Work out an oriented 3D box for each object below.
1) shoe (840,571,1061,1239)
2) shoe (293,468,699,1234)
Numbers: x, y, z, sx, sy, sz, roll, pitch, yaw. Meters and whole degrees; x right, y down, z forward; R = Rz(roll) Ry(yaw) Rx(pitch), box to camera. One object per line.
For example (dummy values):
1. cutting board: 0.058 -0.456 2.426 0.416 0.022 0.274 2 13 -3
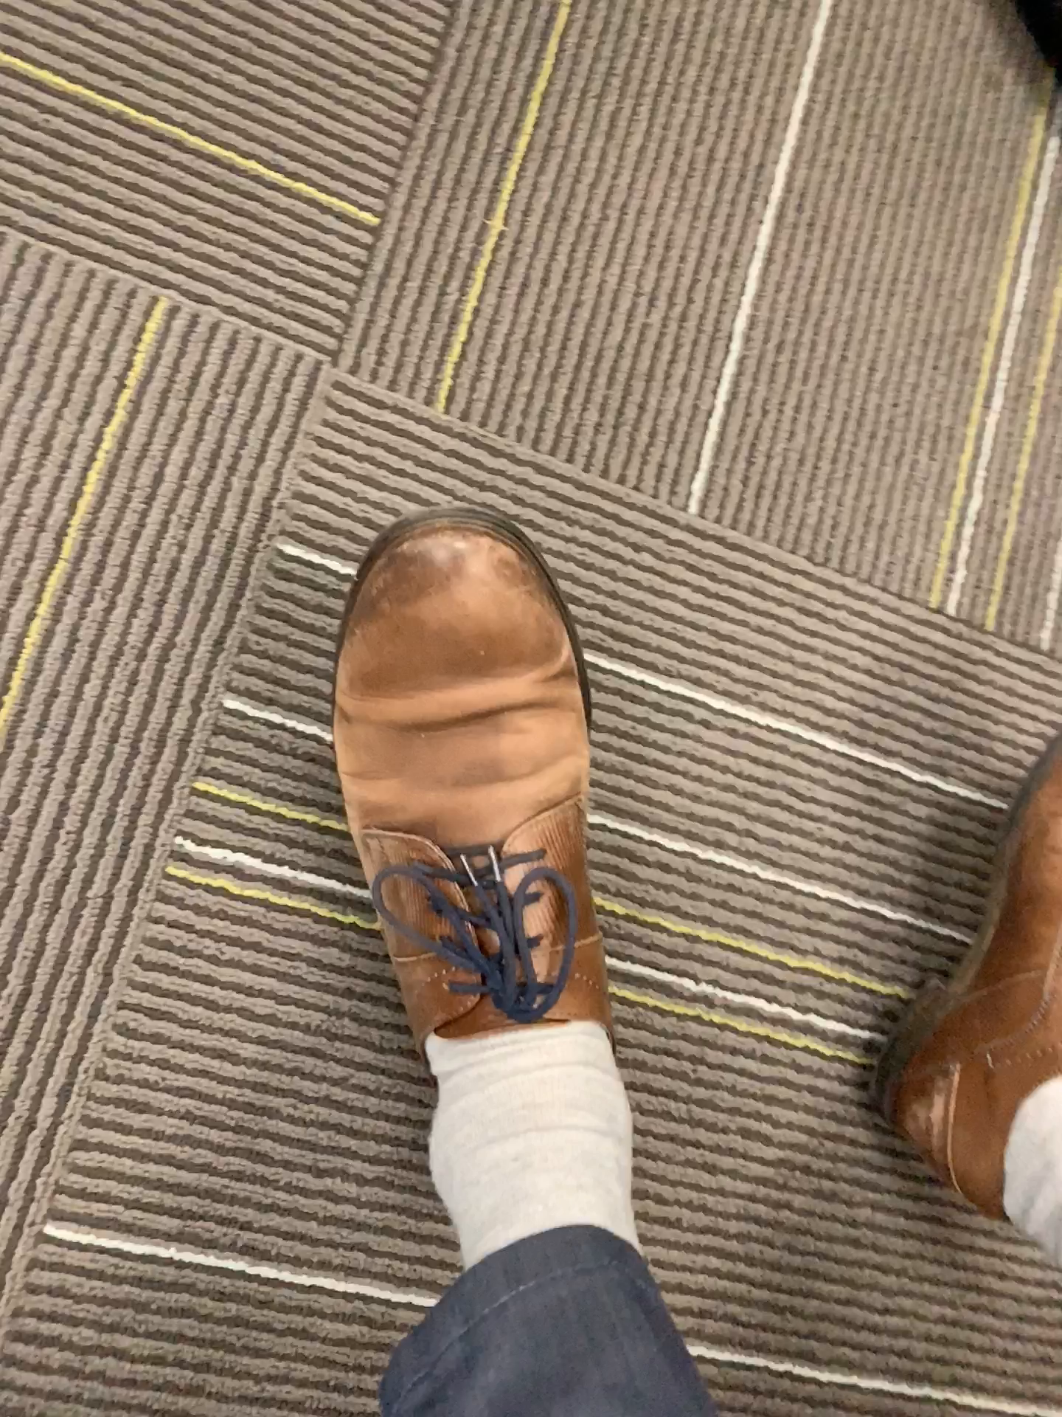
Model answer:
1. shoe: 0.255 0.092 0.498 0.103 0.074 0.281 15 100 -35
2. shoe: -0.009 0.053 0.422 0.120 0.084 0.272 -6 106 -5
